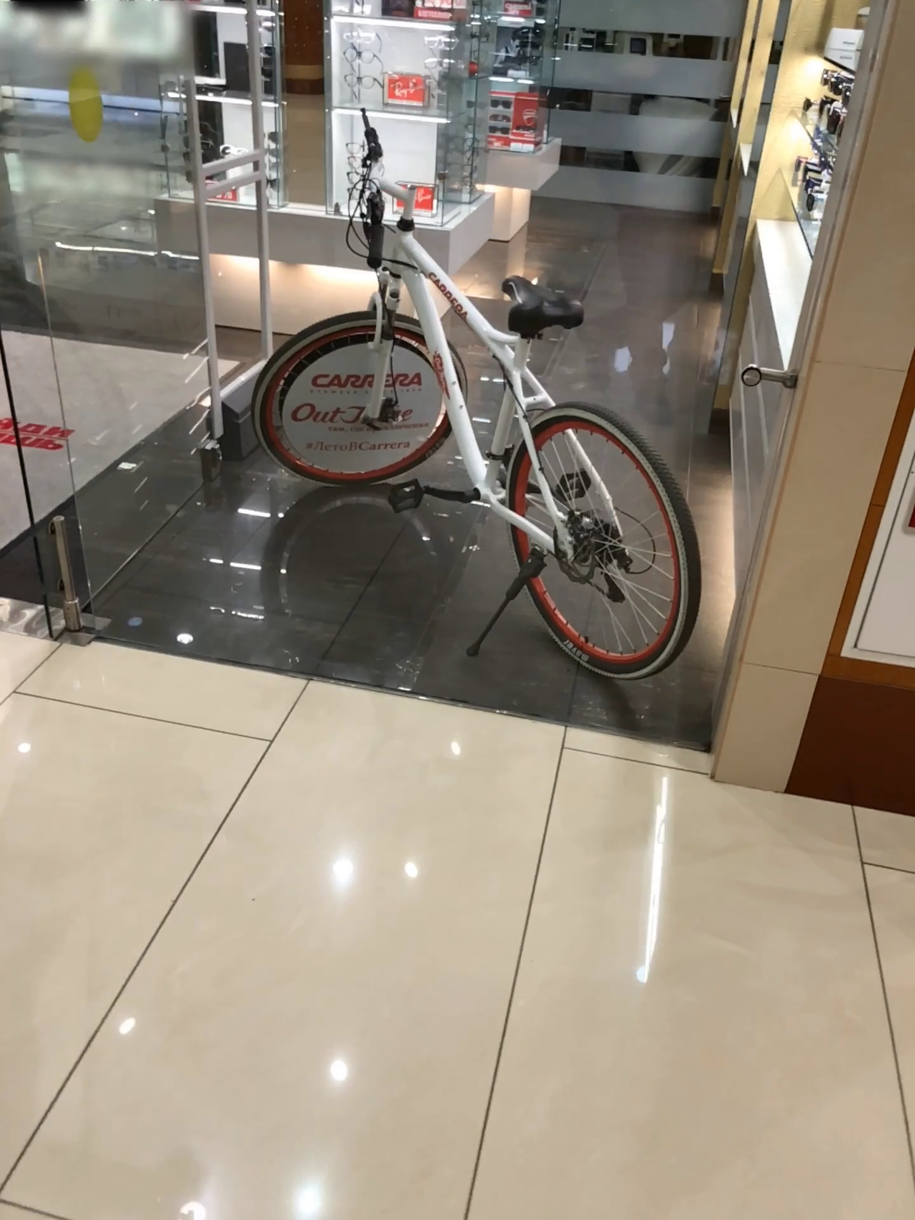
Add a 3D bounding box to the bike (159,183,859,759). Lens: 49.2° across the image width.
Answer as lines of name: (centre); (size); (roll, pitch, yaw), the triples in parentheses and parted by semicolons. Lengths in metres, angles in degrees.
bike: (-0.010, -0.429, 2.315); (0.593, 0.947, 1.384); (-24, 37, -39)
